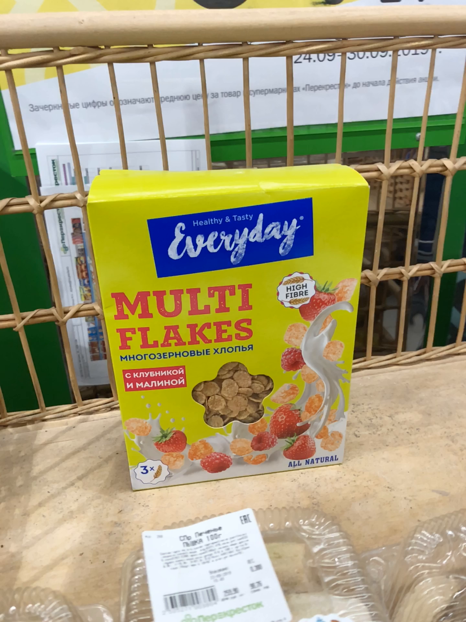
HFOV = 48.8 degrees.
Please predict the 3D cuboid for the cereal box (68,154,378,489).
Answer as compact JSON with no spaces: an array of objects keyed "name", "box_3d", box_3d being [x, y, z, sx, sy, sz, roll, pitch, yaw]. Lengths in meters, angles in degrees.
[{"name":"cereal box","box_3d":[-0.003,0.014,0.376,0.180,0.229,0.060,-5,29,-6]}]
